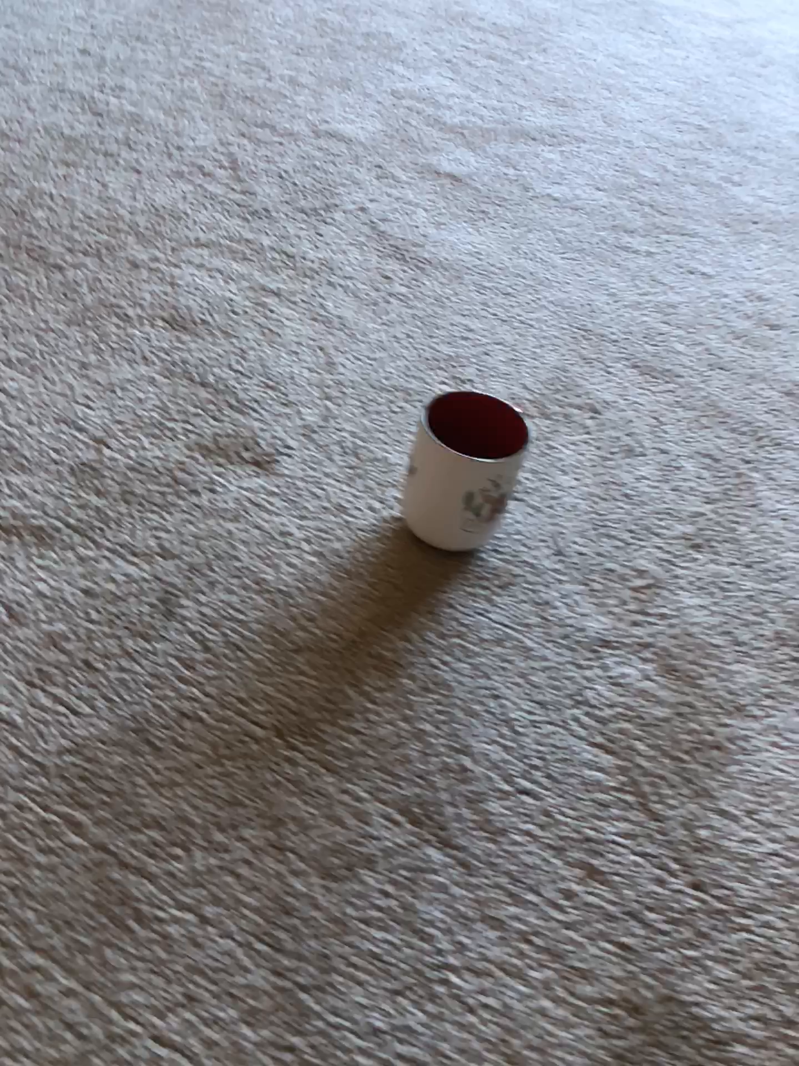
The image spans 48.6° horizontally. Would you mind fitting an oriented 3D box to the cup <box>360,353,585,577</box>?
[{"bbox_3d":[0.057,-0.058,0.705,0.100,0.090,0.140,35,49,22],"label":"cup"}]
